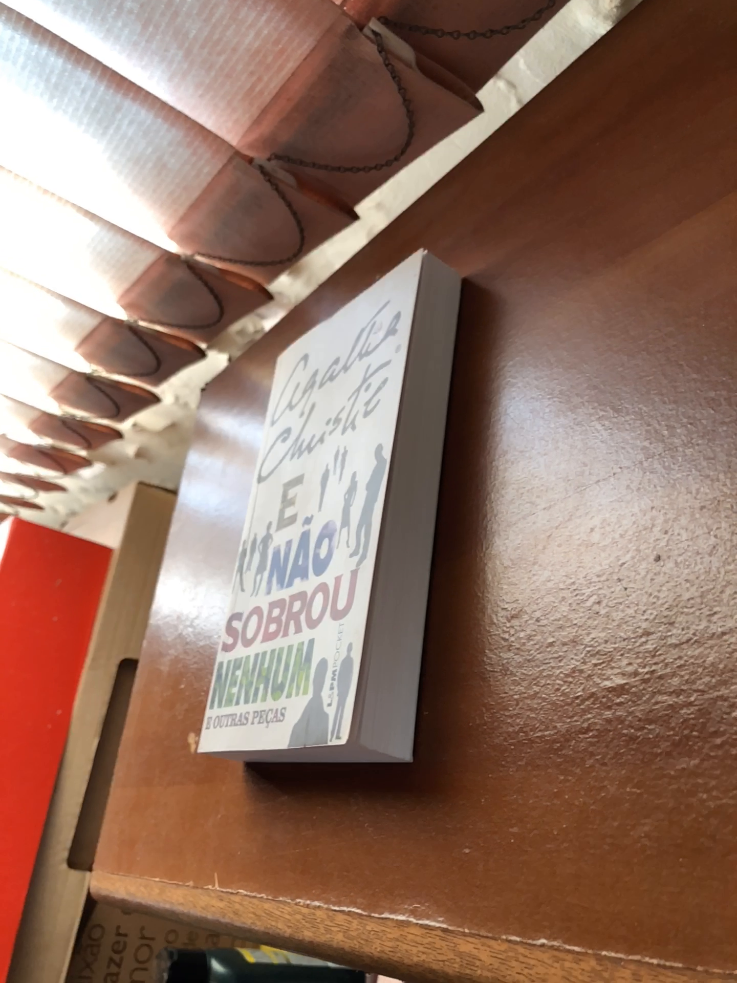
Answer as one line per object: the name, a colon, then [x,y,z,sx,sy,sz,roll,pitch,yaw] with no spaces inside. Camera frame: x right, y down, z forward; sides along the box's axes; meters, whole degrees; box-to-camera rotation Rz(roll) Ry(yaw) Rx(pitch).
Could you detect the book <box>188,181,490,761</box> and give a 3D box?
book: [-0.011,-0.004,0.292,0.110,0.024,0.186,-24,51,52]
